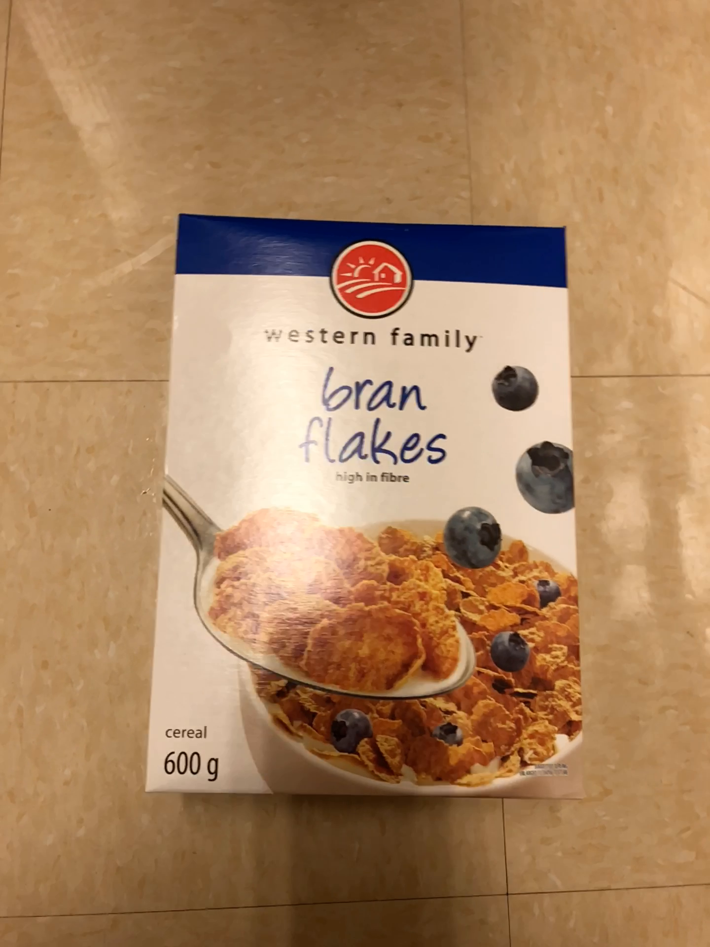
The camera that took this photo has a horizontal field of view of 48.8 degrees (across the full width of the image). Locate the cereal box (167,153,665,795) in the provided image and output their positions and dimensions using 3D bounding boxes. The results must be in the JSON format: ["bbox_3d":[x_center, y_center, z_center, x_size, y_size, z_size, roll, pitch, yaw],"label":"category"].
[{"bbox_3d":[0.028,-0.001,0.412,0.220,0.090,0.300,1,81,-3],"label":"cereal box"}]
